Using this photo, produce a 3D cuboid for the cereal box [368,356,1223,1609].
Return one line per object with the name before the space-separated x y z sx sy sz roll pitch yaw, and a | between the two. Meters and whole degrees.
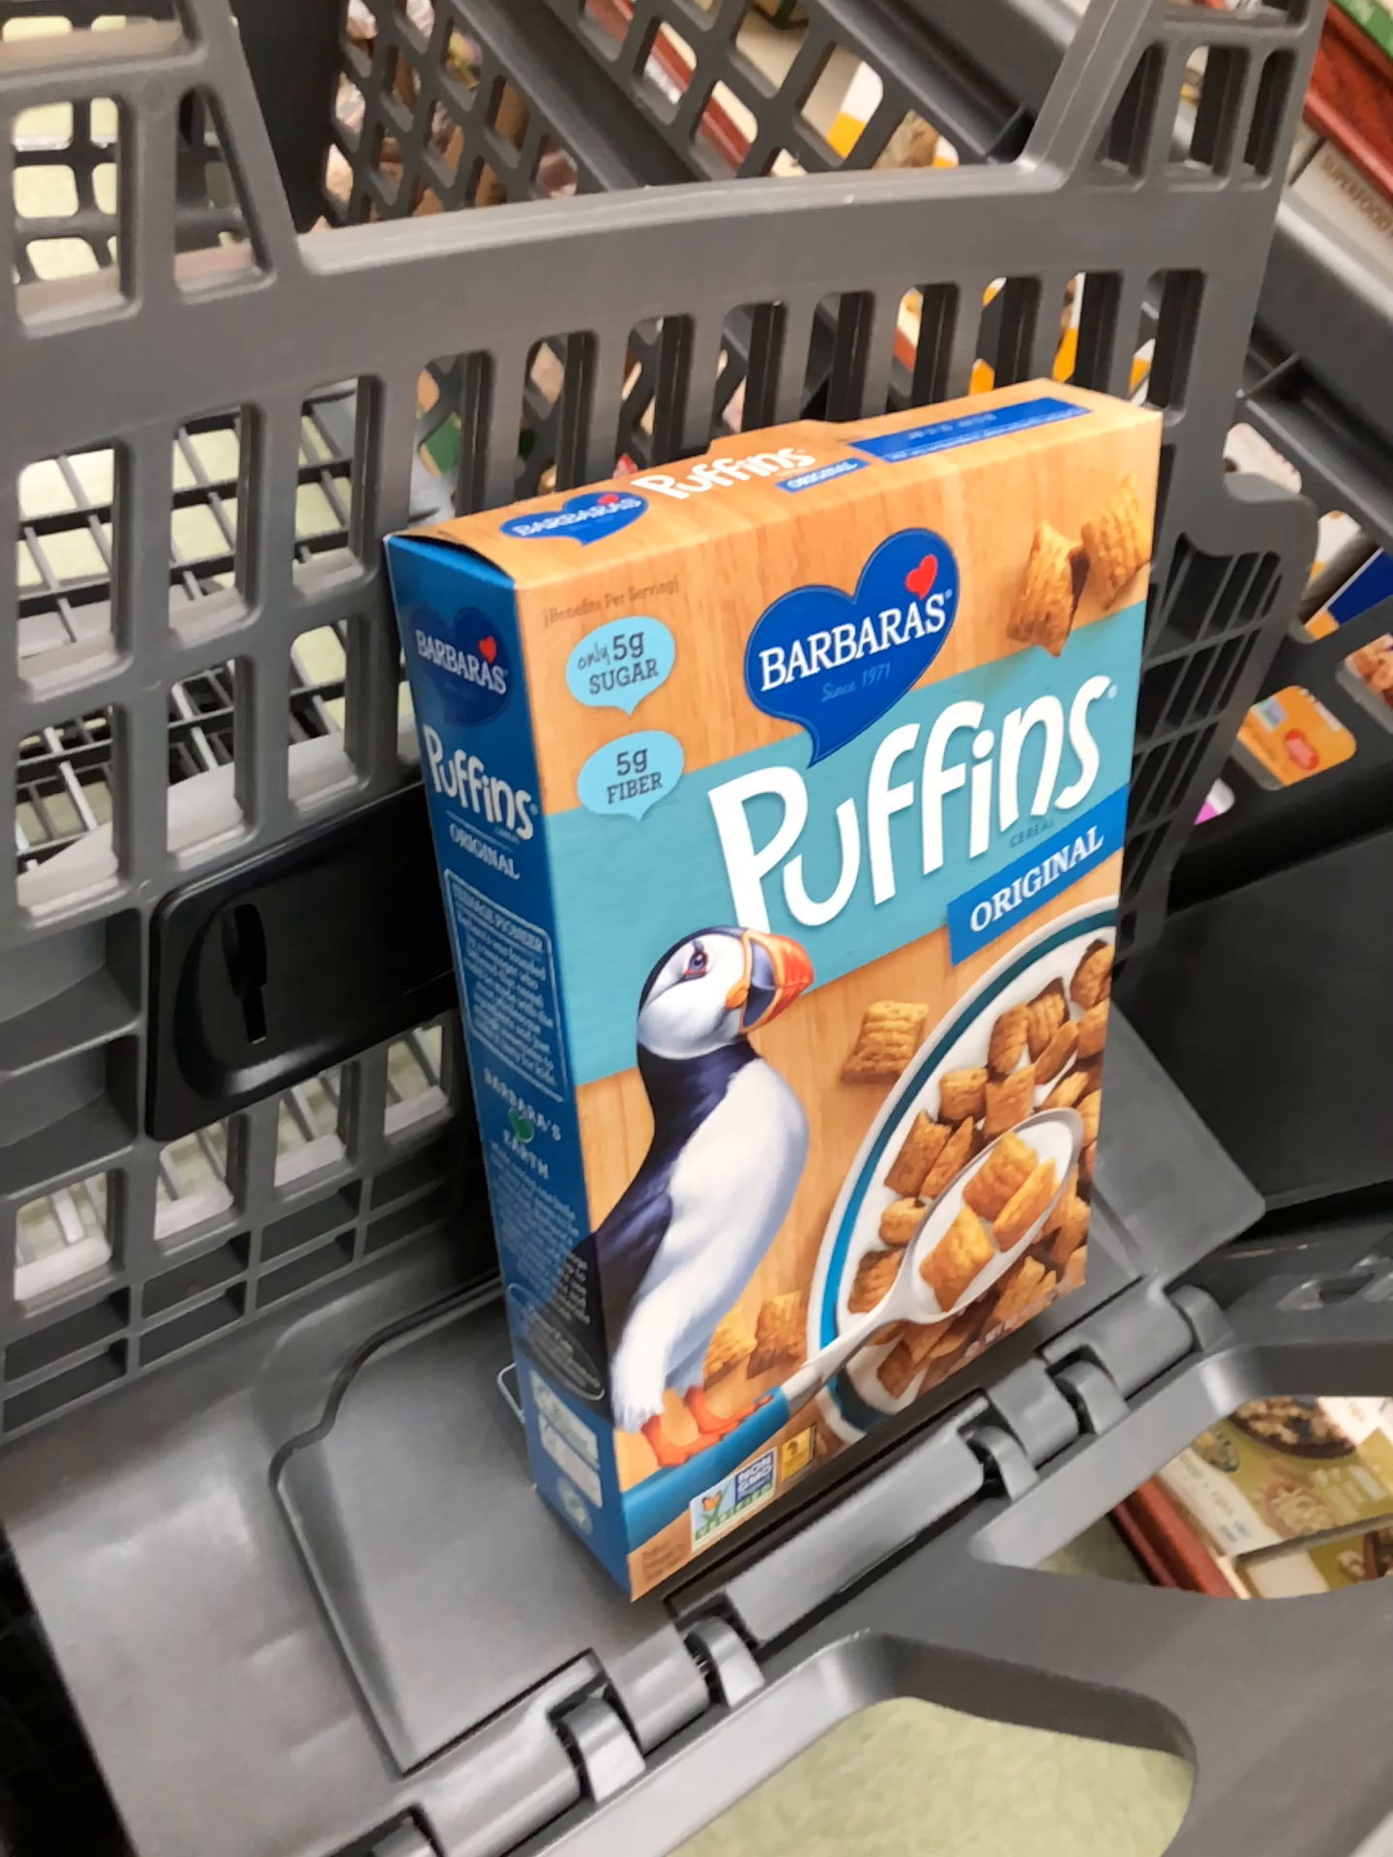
cereal box | 0.036 0.012 0.381 0.190 0.260 0.050 -24 35 -31
